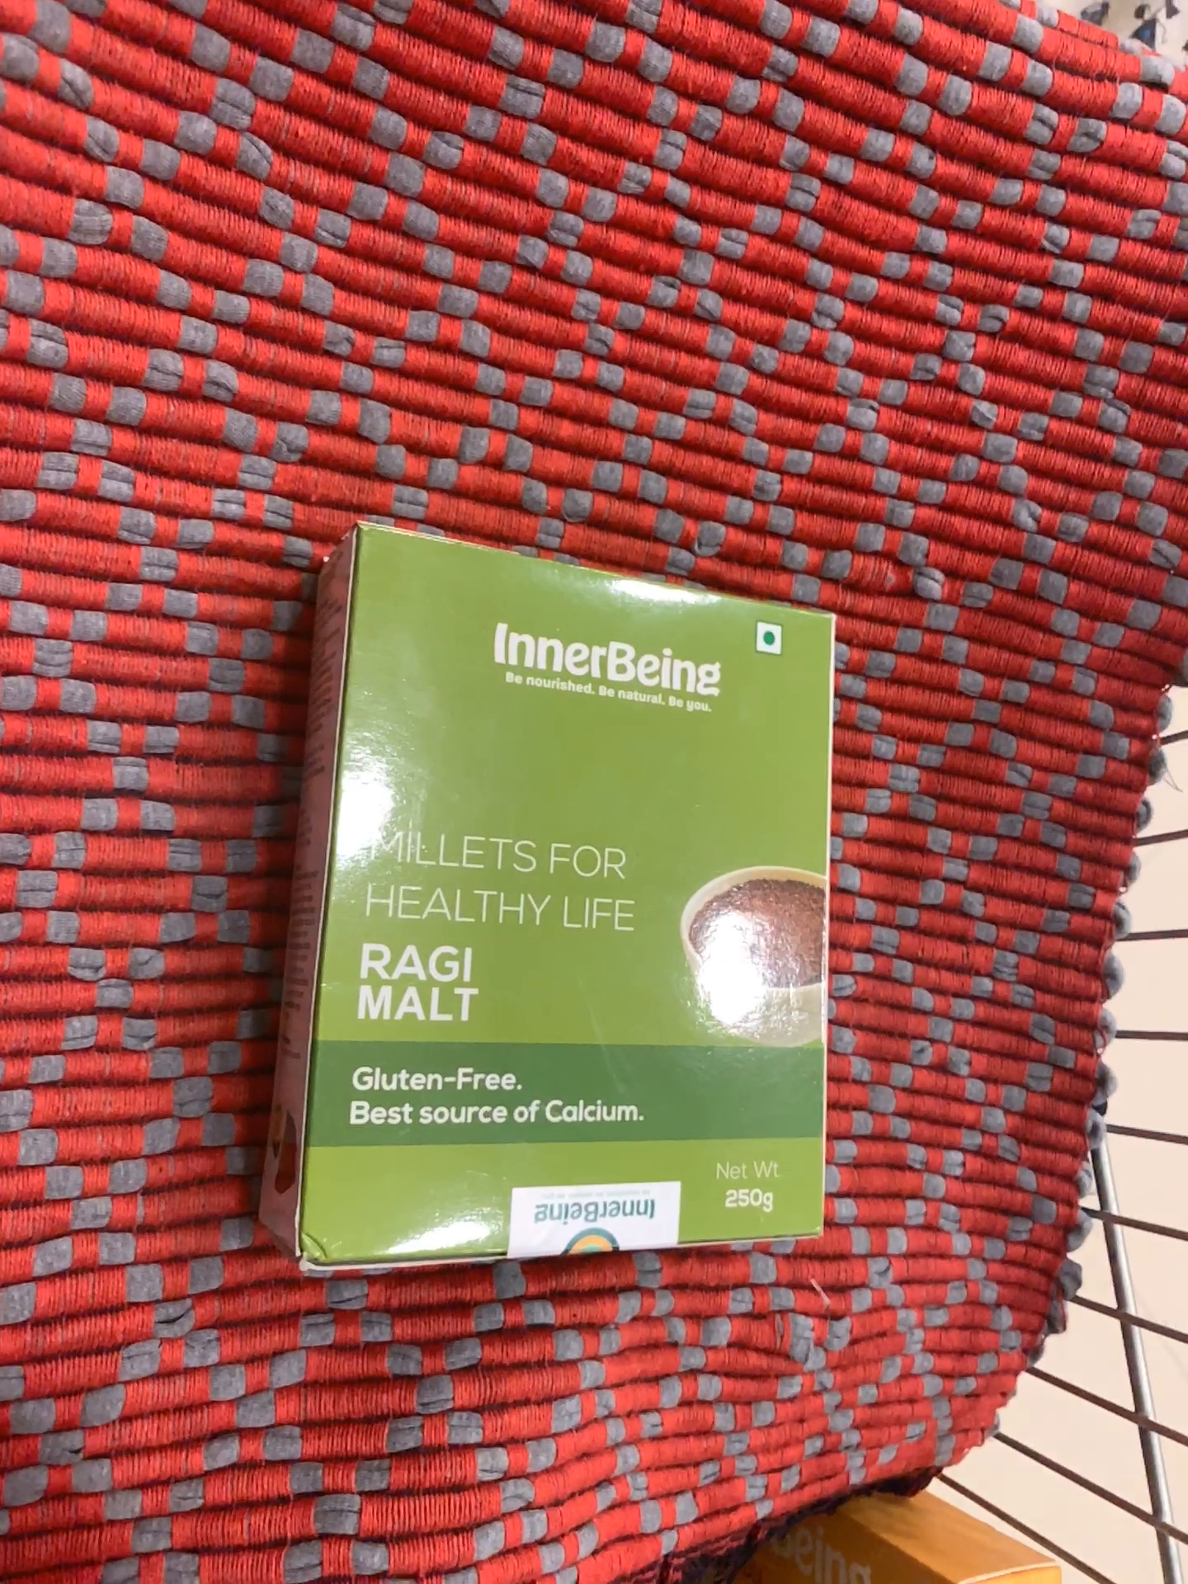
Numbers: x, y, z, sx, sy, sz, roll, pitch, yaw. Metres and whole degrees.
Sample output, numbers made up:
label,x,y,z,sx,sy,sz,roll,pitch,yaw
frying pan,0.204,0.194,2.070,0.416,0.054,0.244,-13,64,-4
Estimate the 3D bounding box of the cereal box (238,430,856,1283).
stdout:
label,x,y,z,sx,sy,sz,roll,pitch,yaw
cereal box,-0.007,0.018,0.293,0.130,0.050,0.170,6,80,-24
